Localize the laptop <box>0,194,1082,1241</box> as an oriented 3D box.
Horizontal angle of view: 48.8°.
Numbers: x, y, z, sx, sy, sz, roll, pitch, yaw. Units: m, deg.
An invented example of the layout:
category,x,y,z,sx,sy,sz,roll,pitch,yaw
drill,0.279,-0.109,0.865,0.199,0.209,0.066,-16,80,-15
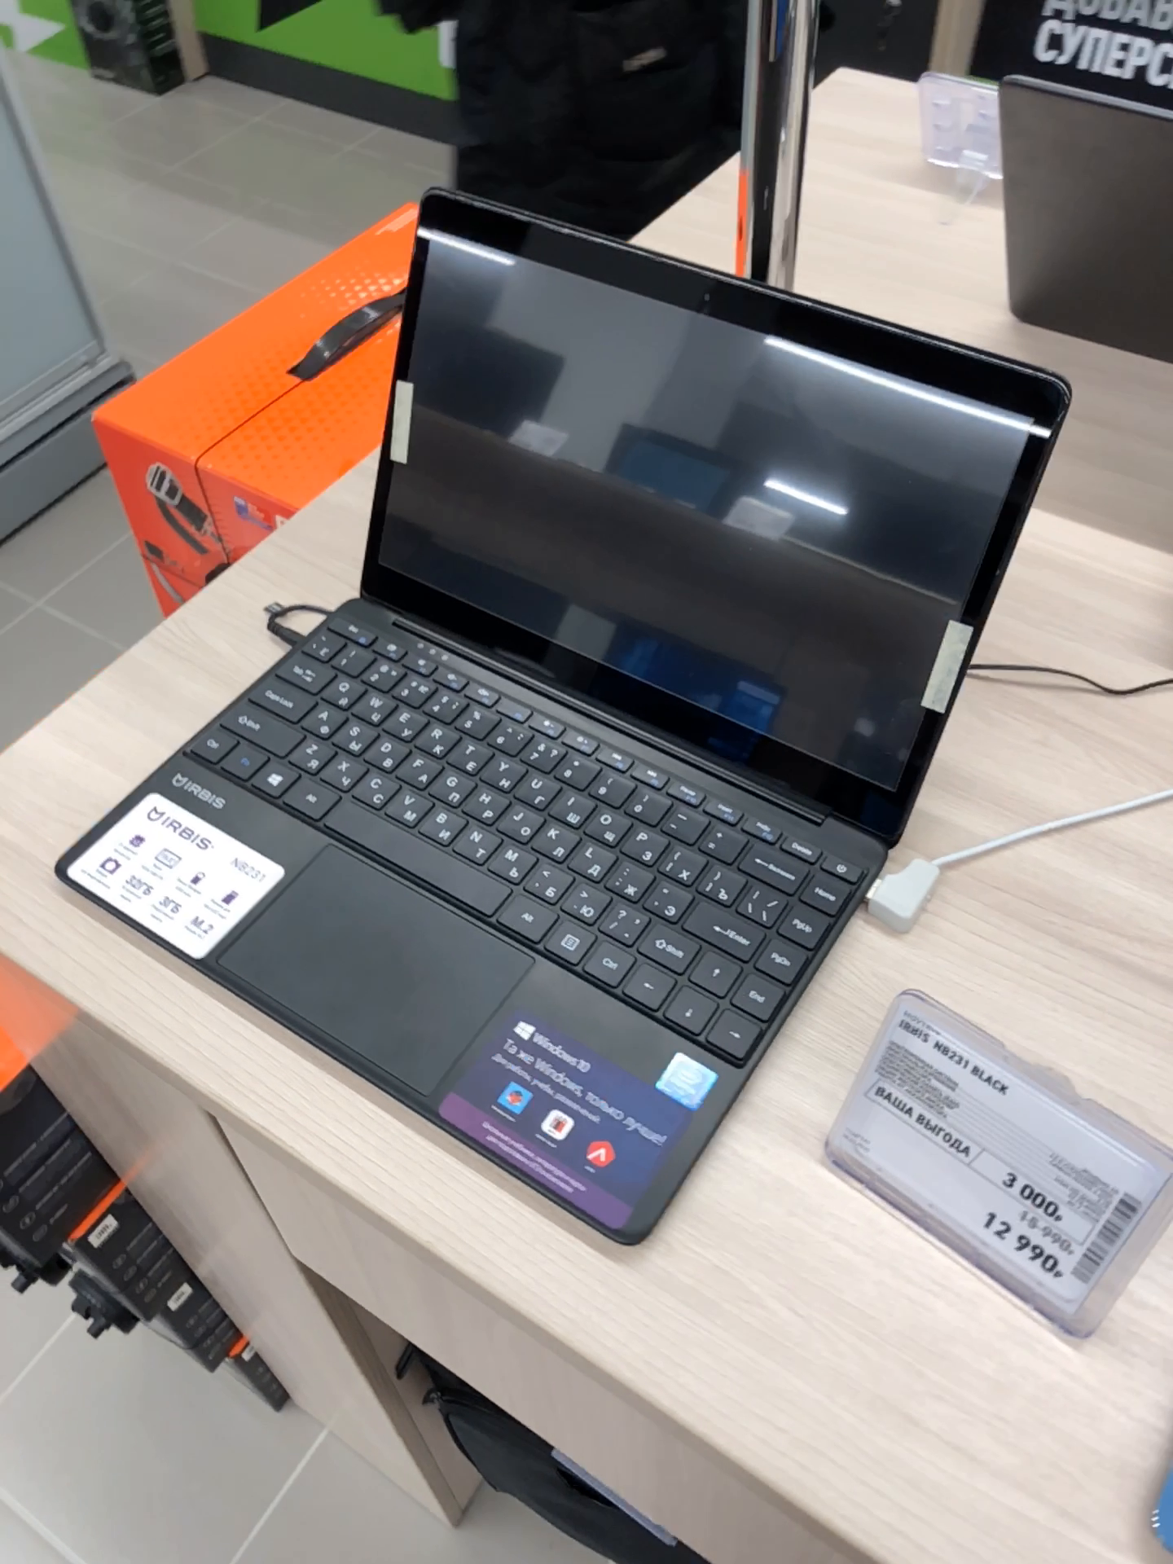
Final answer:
category,x,y,z,sx,sy,sz,roll,pitch,yaw
laptop,-0.026,-0.056,0.525,0.304,0.172,0.307,26,56,24
